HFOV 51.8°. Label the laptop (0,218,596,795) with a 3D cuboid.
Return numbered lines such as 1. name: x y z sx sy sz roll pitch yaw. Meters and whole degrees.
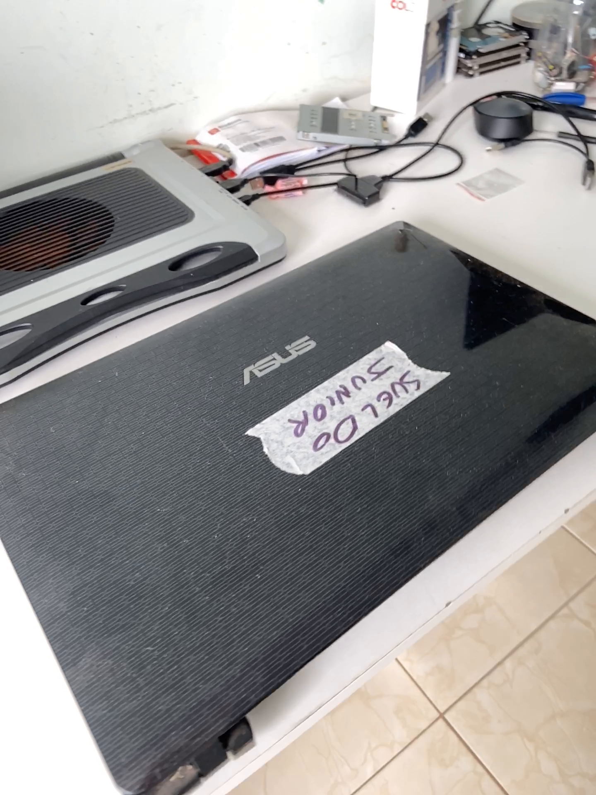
1. laptop: 0.010 0.001 0.369 0.363 0.001 0.237 -30 50 -23
